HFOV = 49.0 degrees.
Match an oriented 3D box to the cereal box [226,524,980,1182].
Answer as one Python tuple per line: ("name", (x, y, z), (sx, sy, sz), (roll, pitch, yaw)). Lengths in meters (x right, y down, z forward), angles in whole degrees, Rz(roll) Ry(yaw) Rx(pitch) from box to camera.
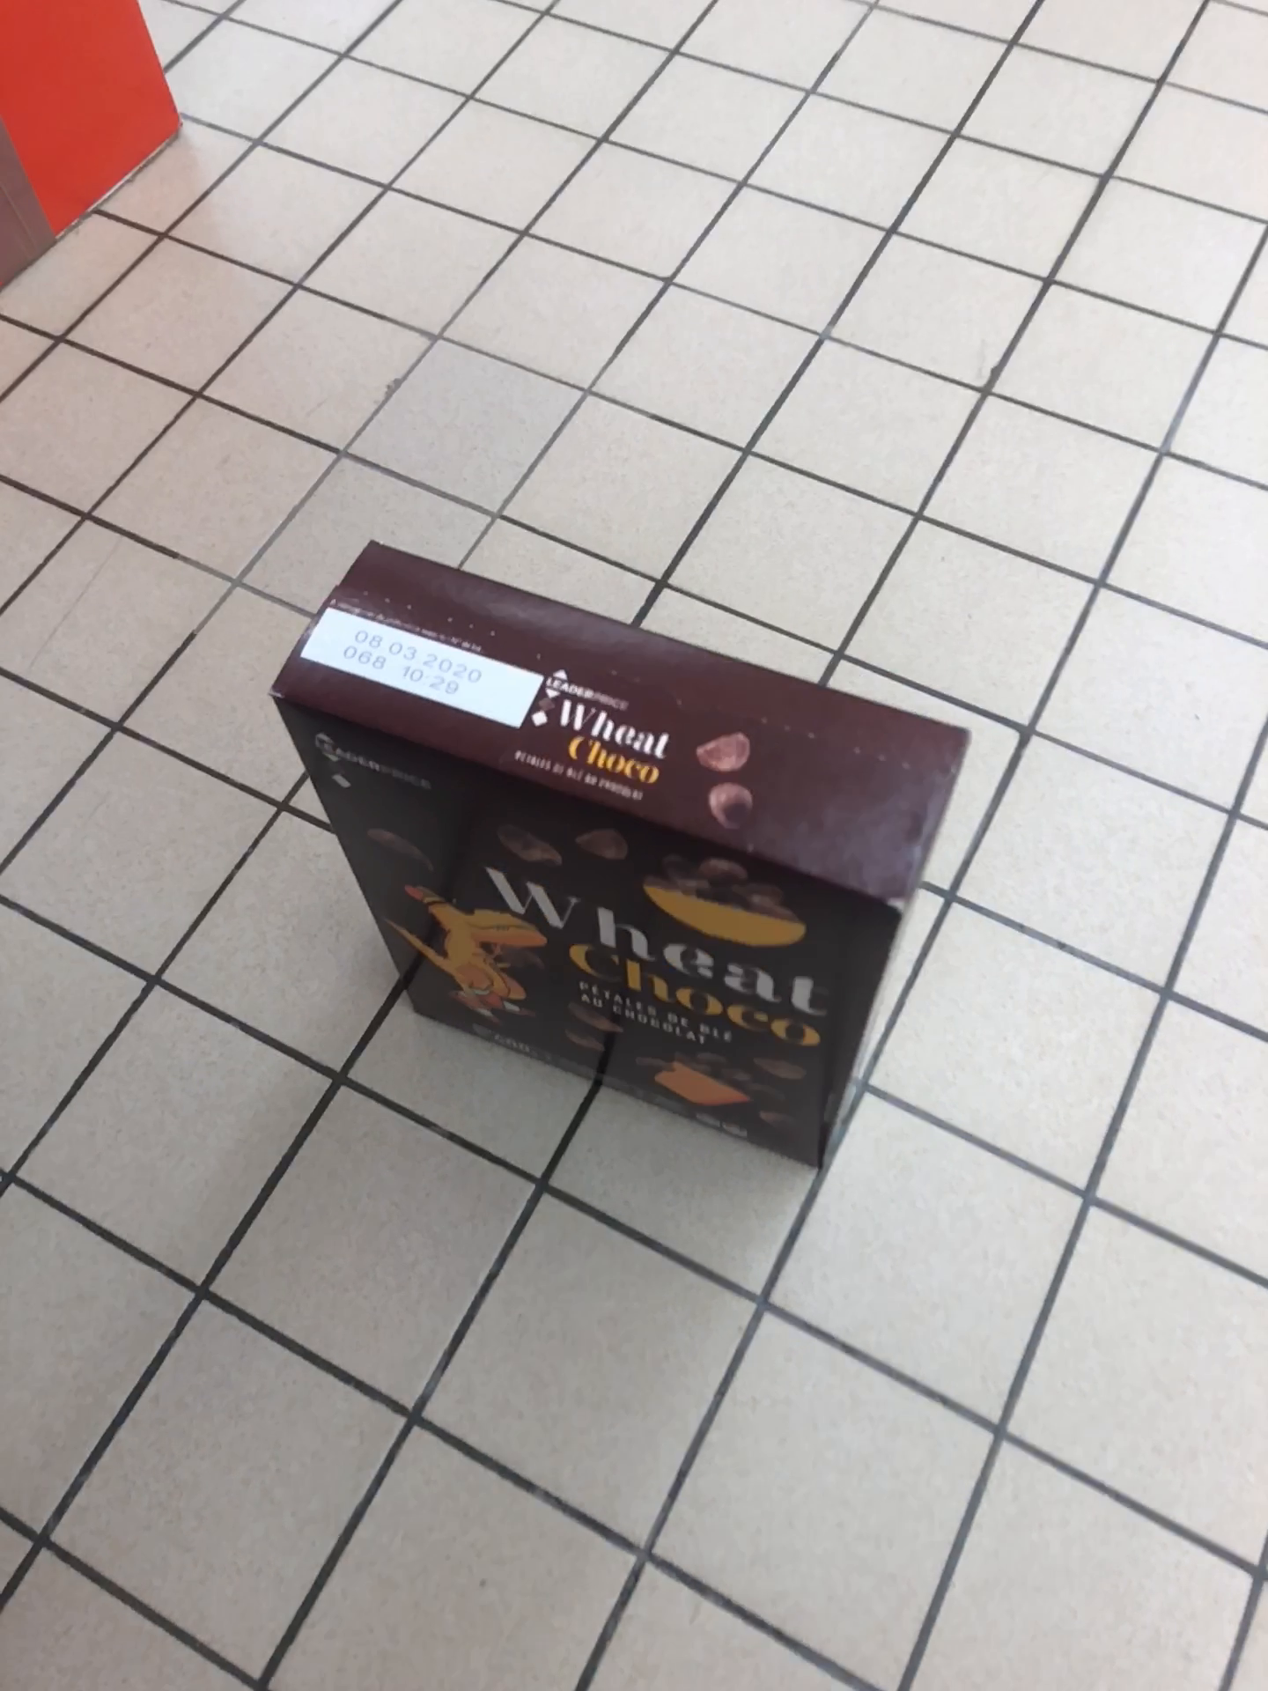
("cereal box", (-0.006, 0.021, 0.500), (0.200, 0.249, 0.070), (19, 65, 12))
